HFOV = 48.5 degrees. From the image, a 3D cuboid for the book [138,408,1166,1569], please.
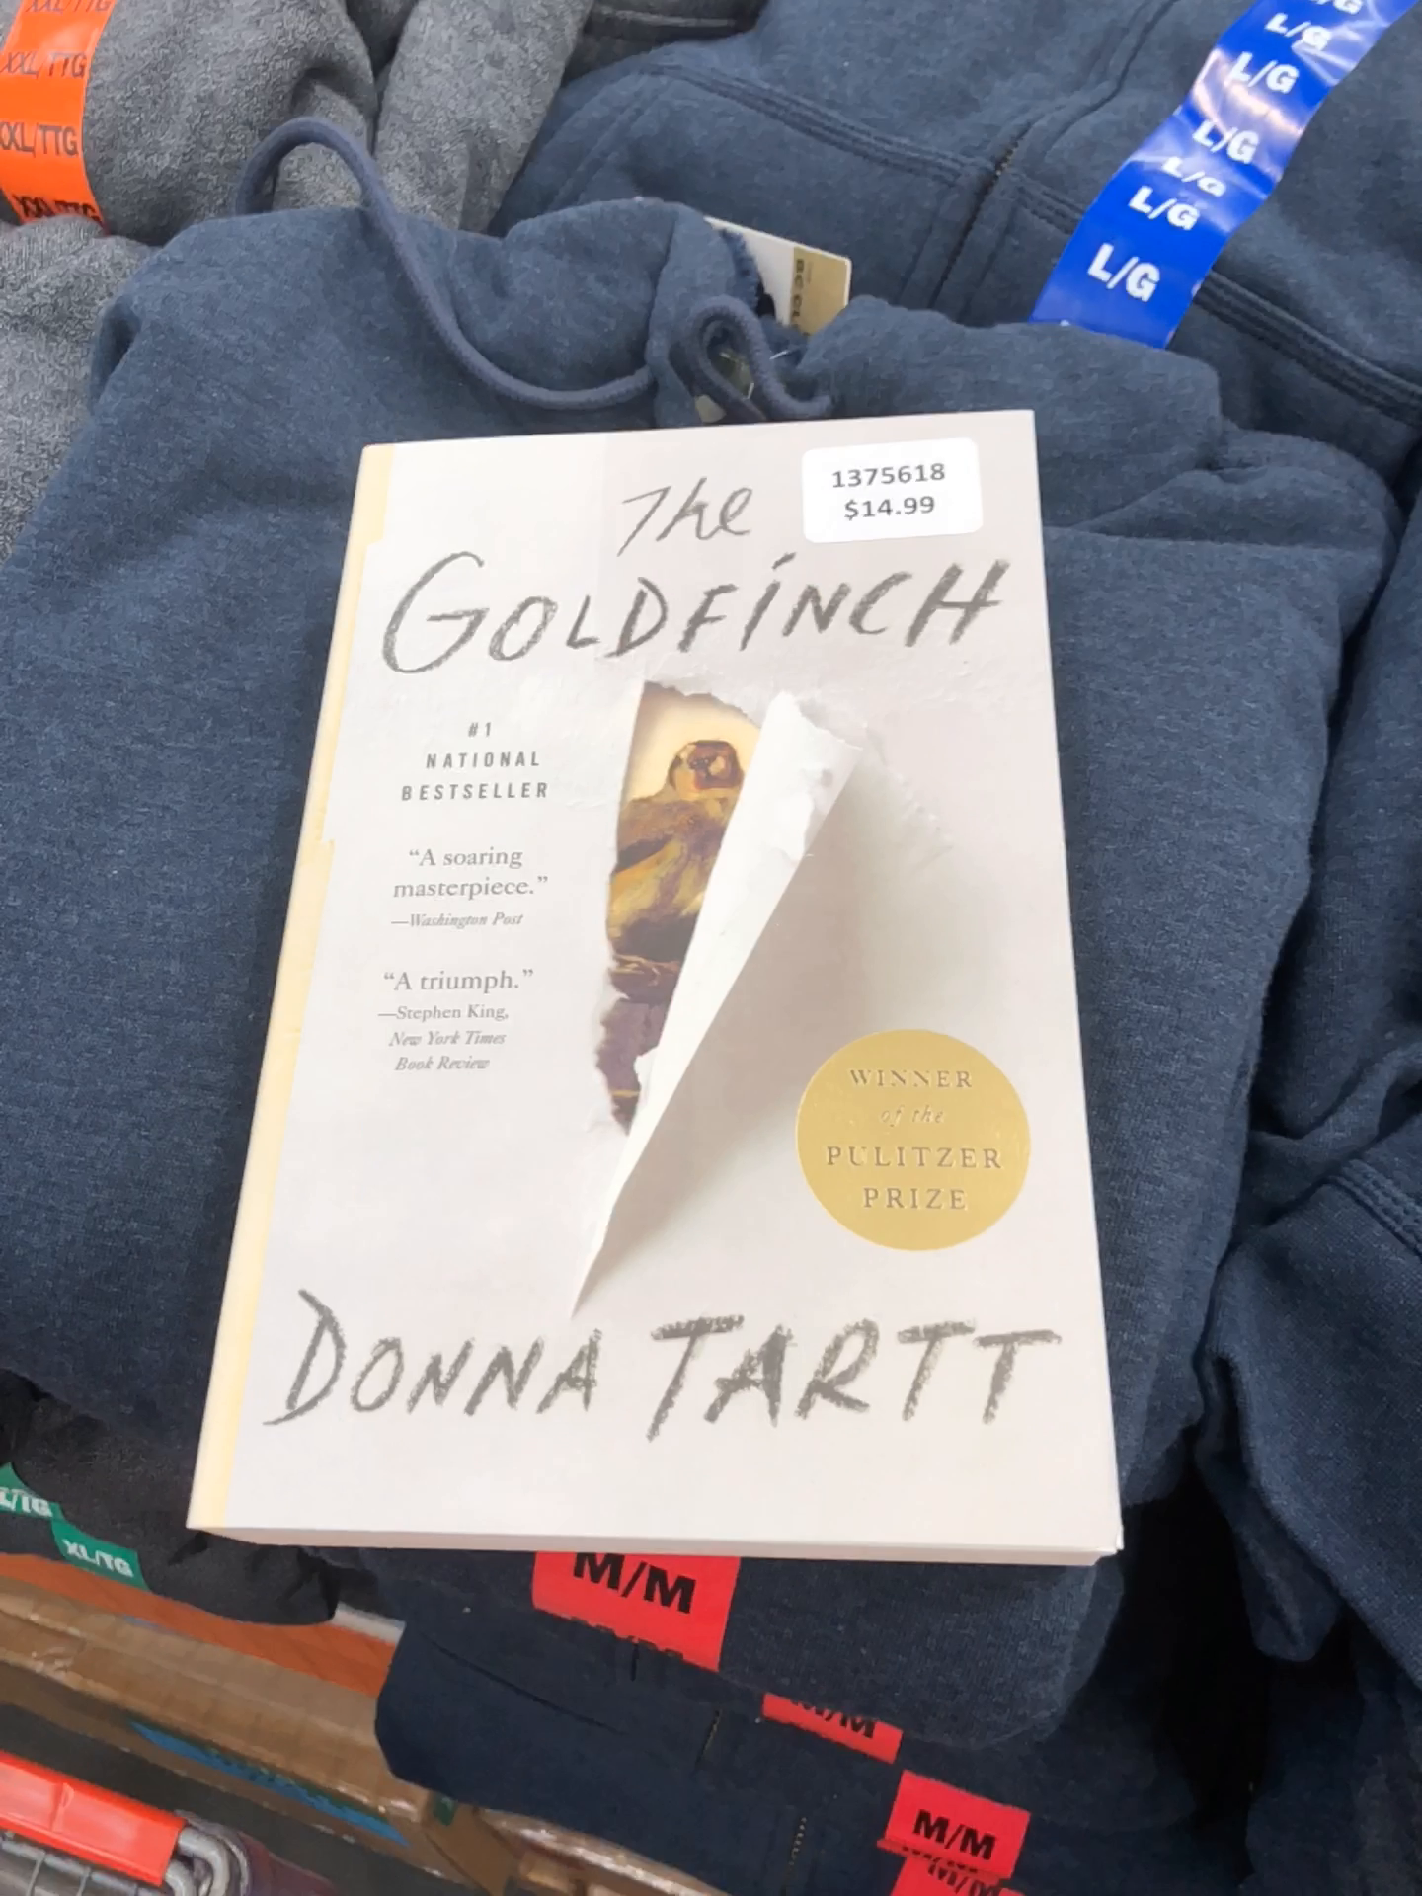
[{"bbox_3d":[-0.007,-0.002,0.306,0.158,0.041,0.222,-1,64,6],"label":"book"}]
